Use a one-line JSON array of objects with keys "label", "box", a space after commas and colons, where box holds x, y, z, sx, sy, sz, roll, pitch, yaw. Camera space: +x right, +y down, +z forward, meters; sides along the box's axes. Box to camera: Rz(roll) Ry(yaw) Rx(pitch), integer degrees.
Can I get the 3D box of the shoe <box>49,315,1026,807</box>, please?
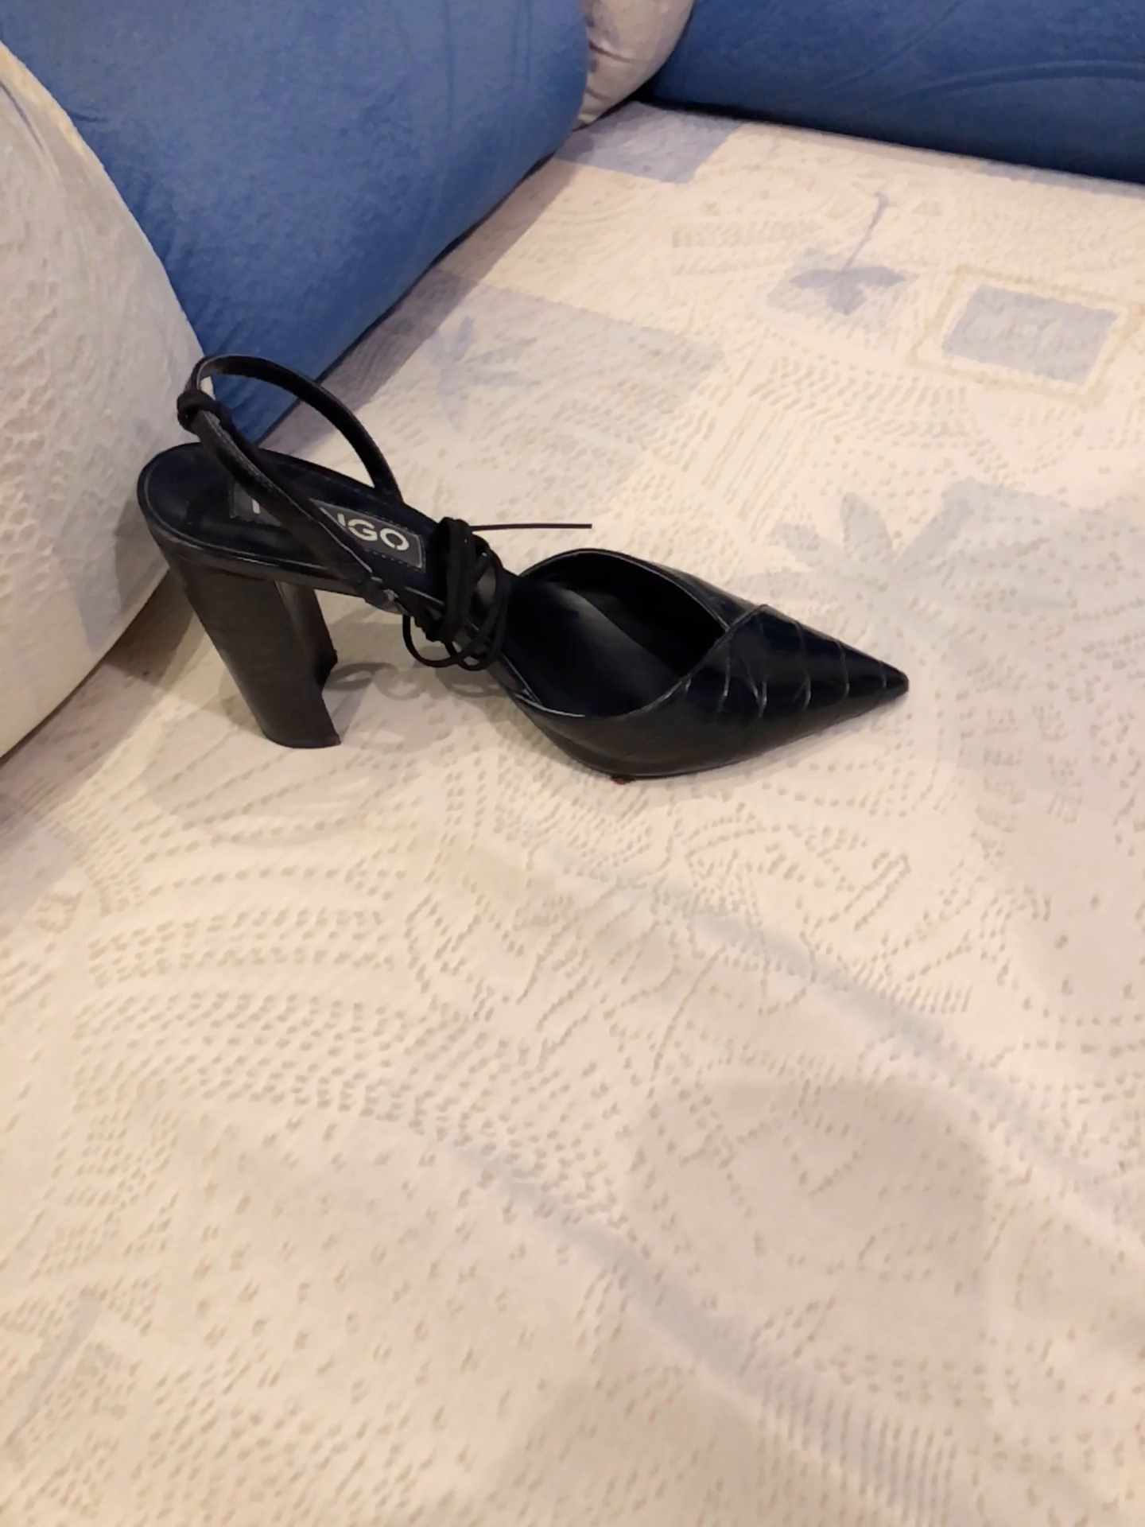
[{"label": "shoe", "box": [-0.007, -0.057, 0.381, 0.240, 0.119, 0.084, 1, 52, 3]}]
